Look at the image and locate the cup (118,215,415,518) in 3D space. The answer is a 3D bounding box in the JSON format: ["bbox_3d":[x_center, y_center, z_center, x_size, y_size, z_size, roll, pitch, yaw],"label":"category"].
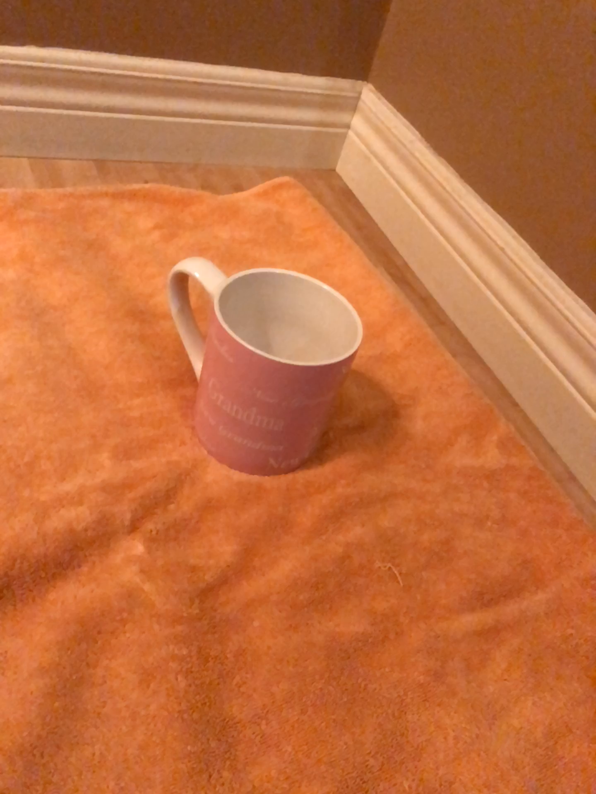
[{"bbox_3d":[-0.028,-0.026,0.435,0.110,0.109,0.140,-26,59,-39],"label":"cup"}]
